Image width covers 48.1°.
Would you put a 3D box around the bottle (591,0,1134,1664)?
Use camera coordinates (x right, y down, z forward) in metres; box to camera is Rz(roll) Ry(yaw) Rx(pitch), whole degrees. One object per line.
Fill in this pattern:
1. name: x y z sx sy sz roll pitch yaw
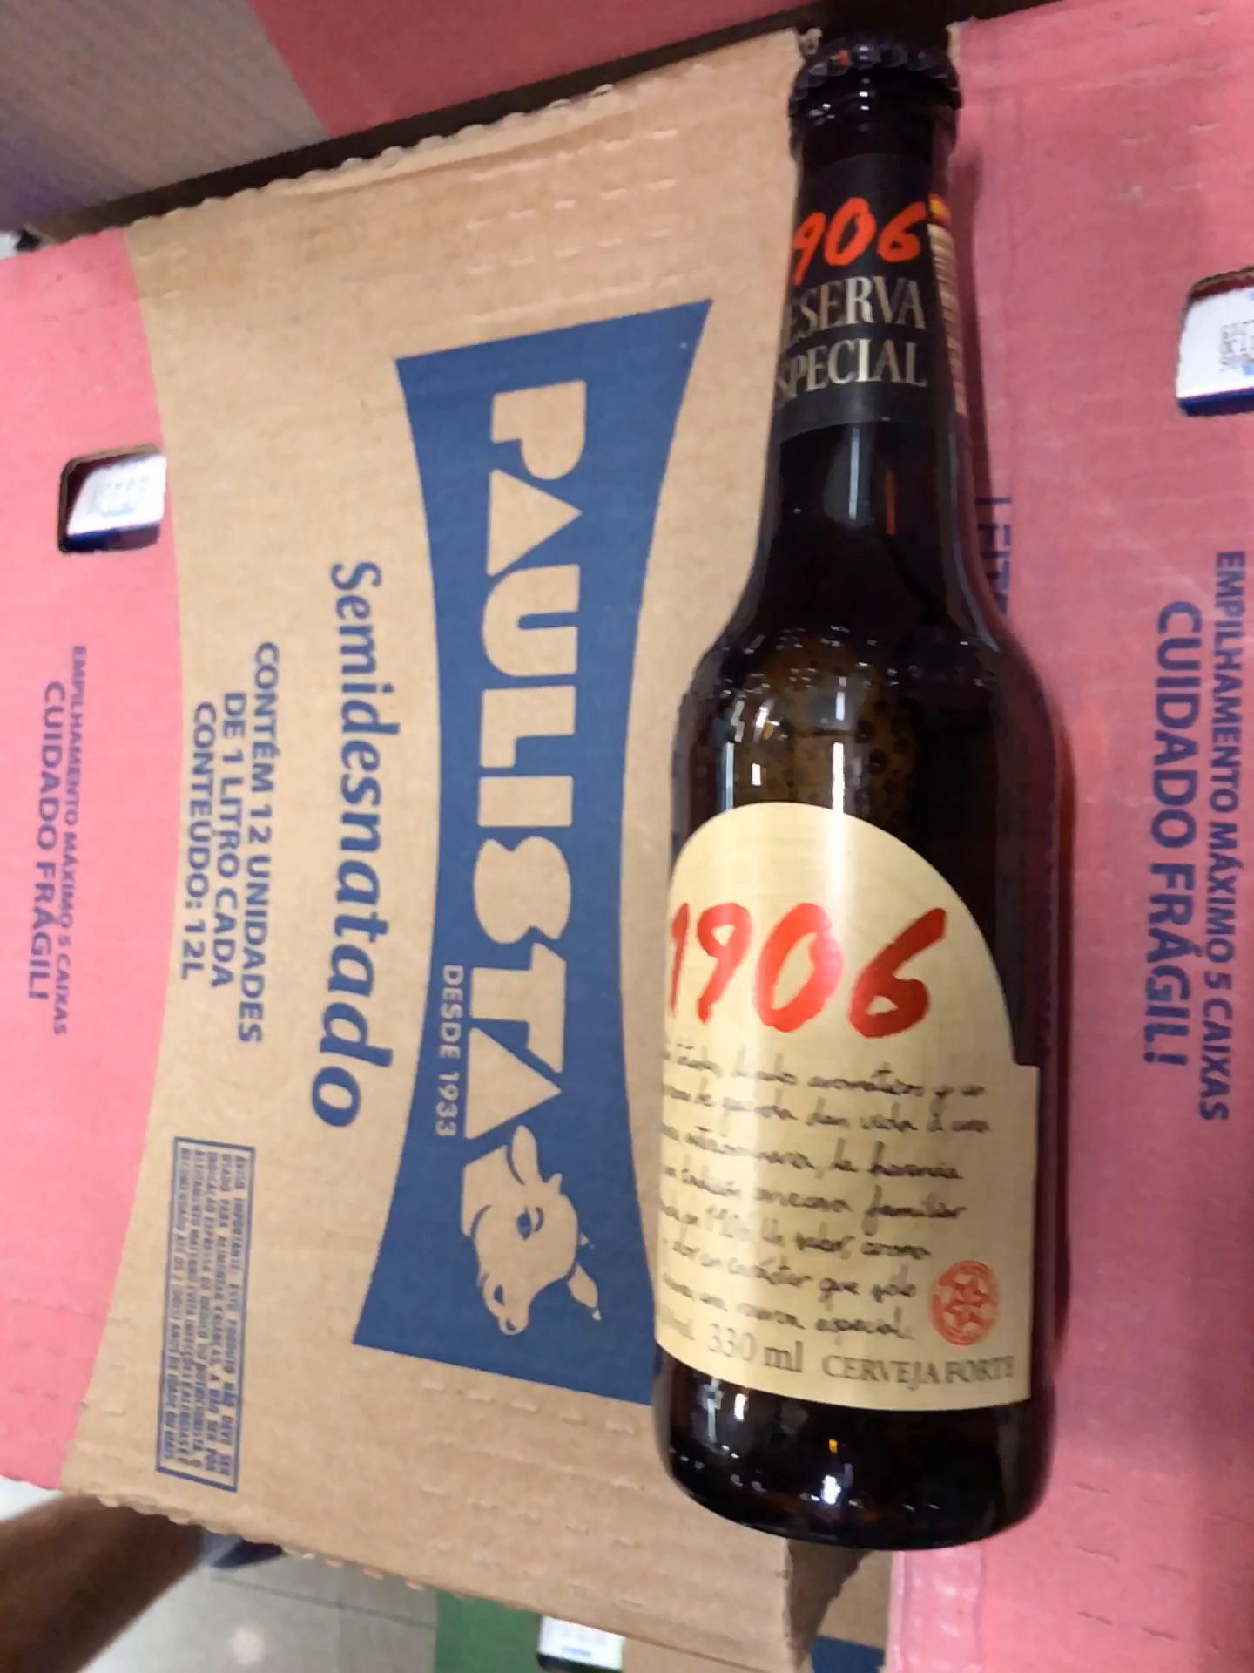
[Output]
1. bottle: 0.043 -0.023 0.236 0.070 0.060 0.270 1 87 25
